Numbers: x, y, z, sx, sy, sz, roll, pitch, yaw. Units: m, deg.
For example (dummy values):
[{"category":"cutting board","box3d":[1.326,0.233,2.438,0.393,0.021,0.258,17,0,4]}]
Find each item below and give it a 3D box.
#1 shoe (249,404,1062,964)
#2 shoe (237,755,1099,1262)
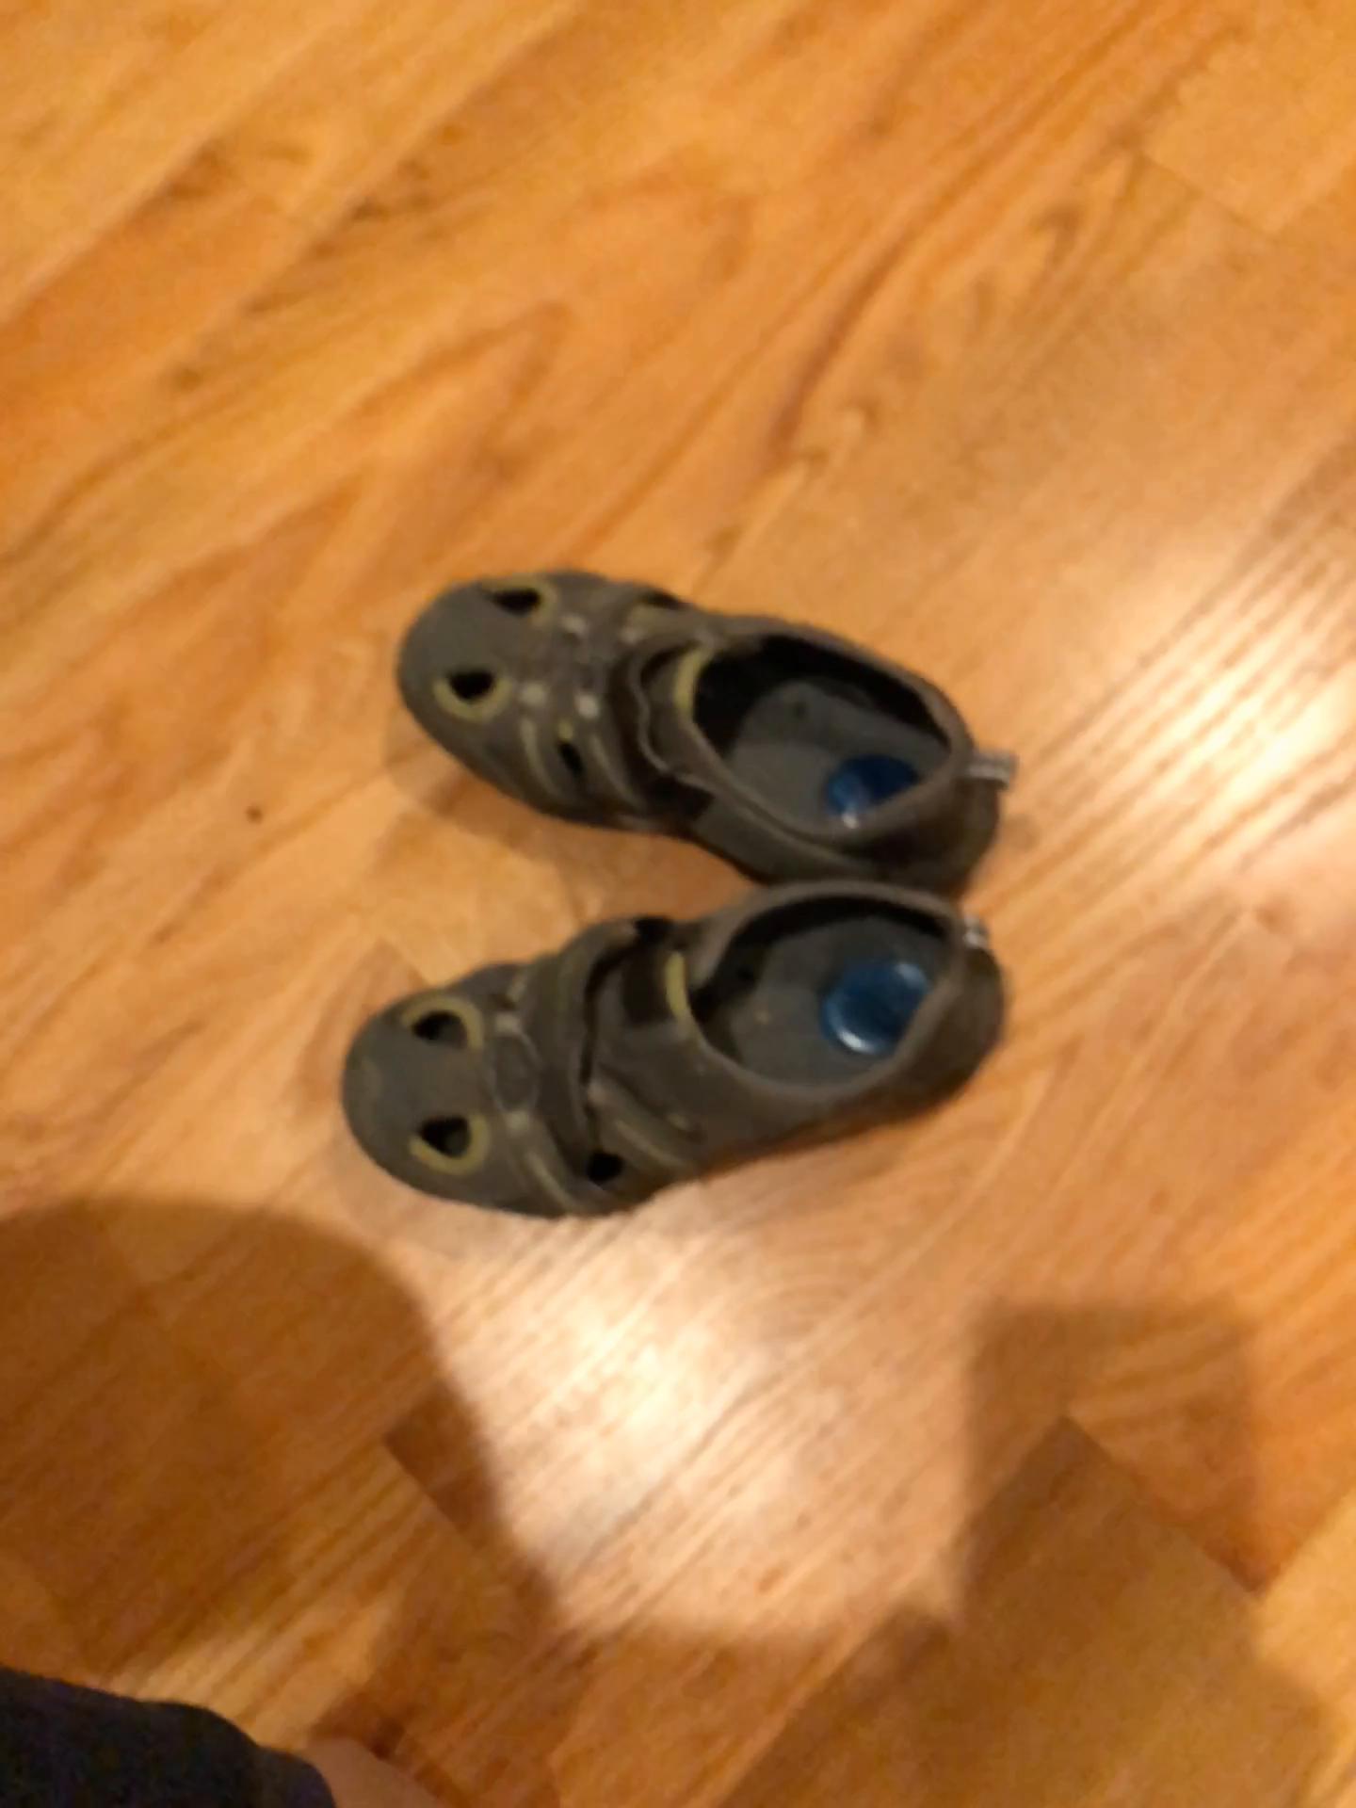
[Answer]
[{"category":"shoe","box3d":[-0.004,-0.076,0.544,0.245,0.113,0.100,17,76,12]},{"category":"shoe","box3d":[-0.003,0.042,0.505,0.245,0.113,0.100,-11,72,4]}]
